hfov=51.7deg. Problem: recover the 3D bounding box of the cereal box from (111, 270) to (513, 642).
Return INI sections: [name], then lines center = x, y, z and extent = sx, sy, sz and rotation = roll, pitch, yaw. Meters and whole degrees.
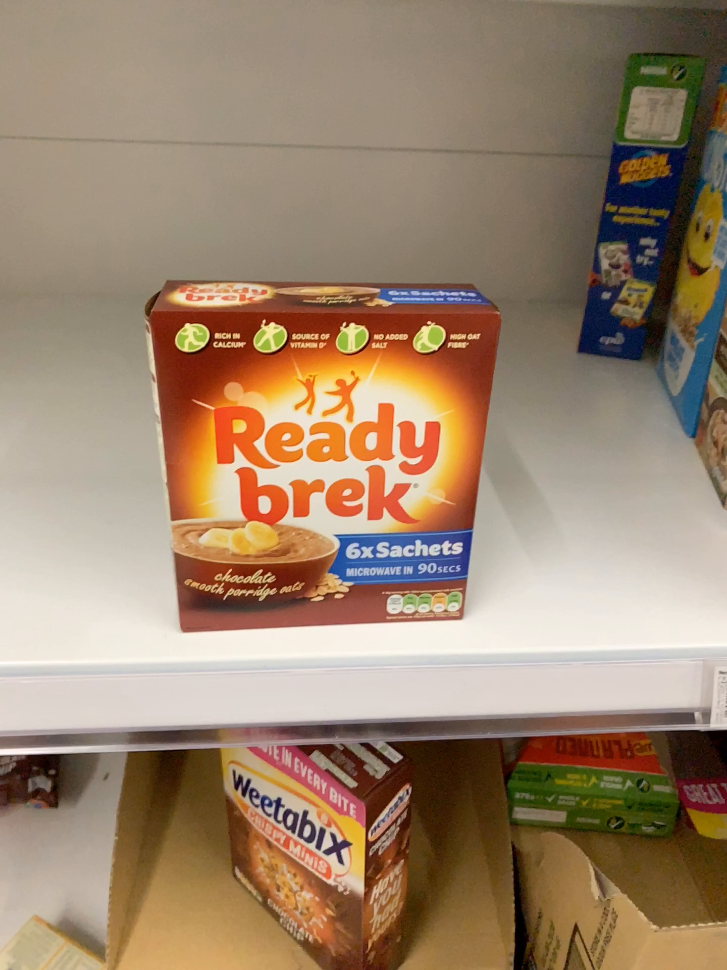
[cereal box]
center = -0.027, -0.013, 0.407
extent = 0.180, 0.188, 0.061
rotation = -1, 28, -7
